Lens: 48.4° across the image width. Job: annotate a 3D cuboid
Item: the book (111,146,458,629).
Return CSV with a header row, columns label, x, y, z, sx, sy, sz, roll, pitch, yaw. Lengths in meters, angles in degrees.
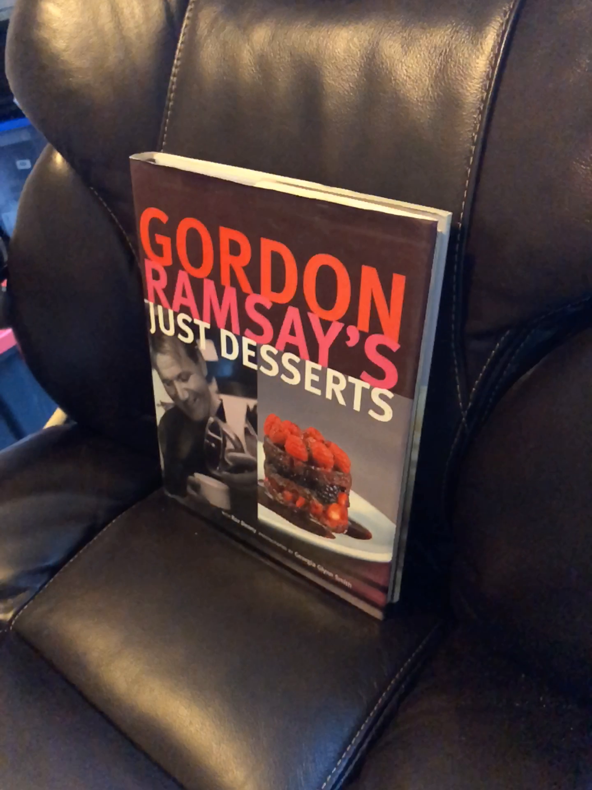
label,x,y,z,sx,sy,sz,roll,pitch,yaw
book,-0.016,-0.001,0.455,0.231,0.293,0.030,23,40,32
